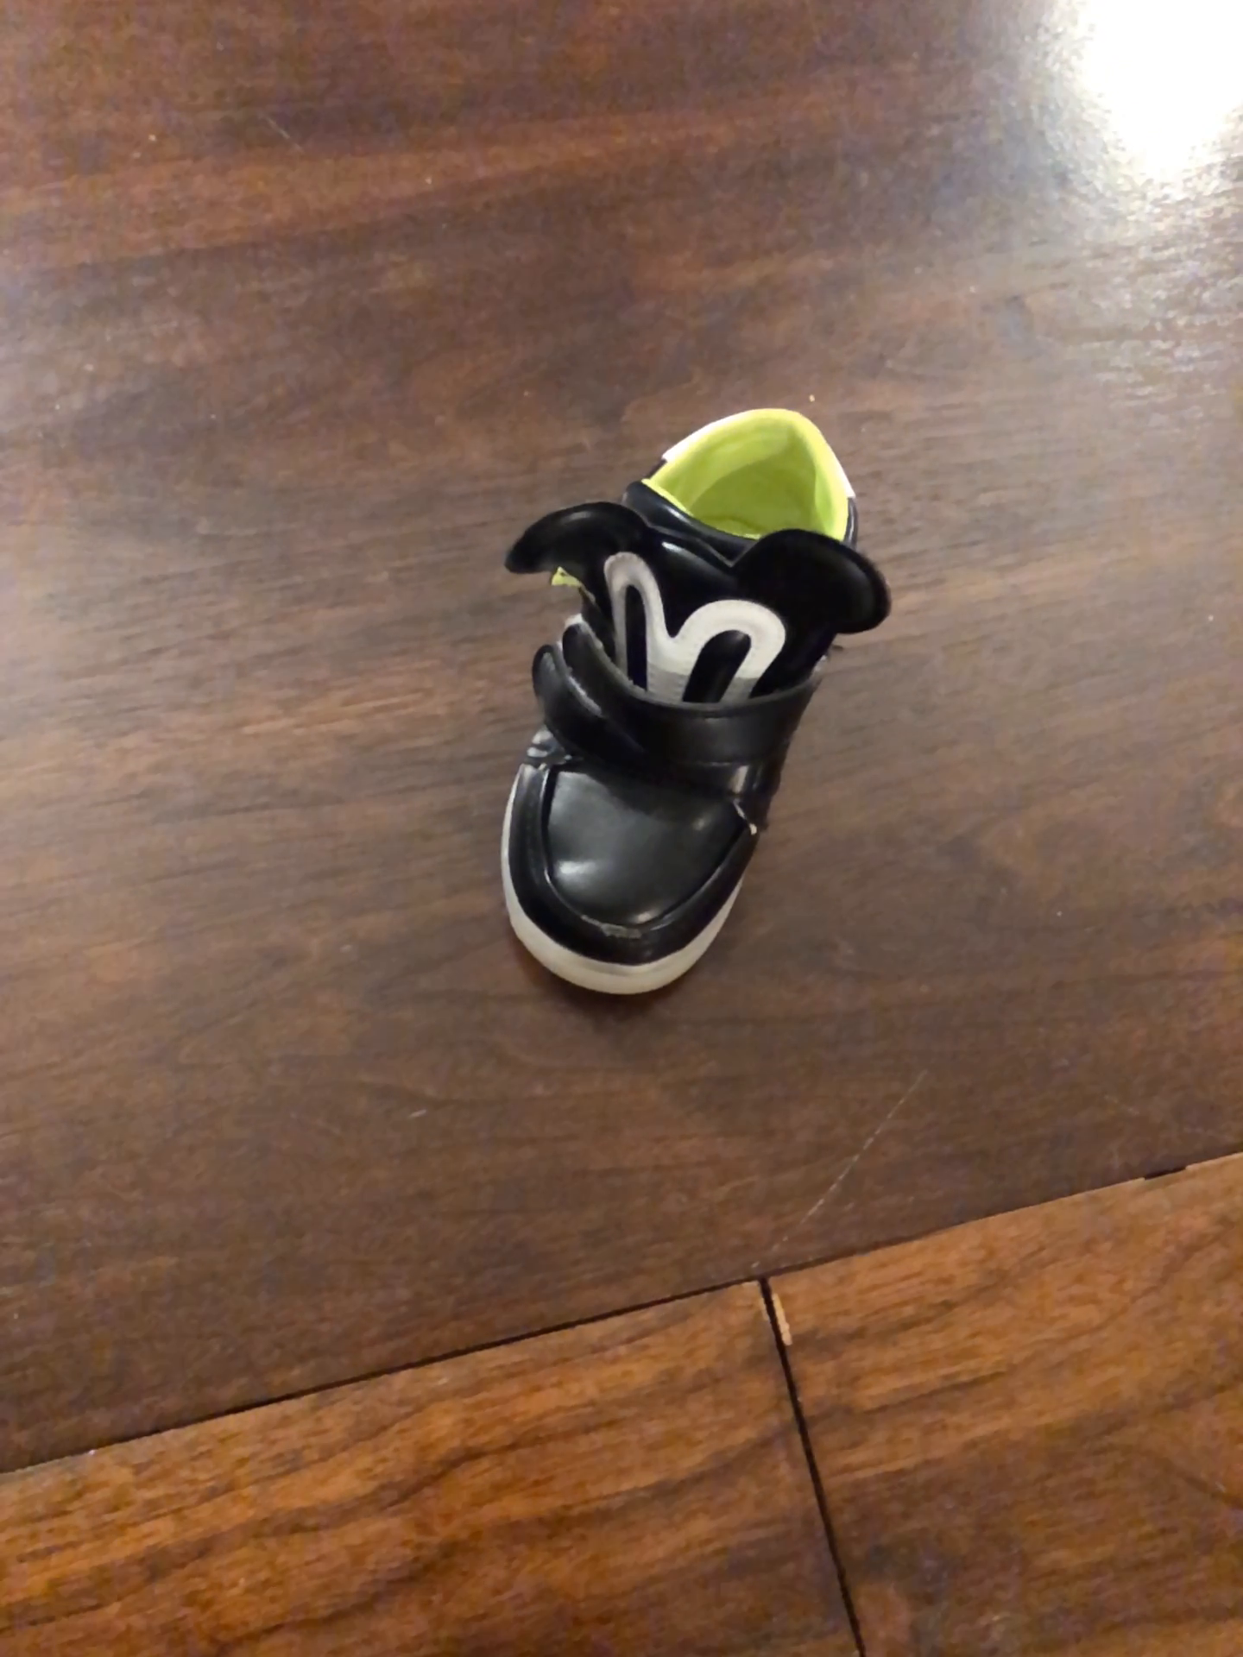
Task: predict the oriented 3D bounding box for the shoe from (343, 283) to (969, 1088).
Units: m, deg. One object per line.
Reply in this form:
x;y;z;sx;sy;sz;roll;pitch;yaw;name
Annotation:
0.009;-0.031;0.344;0.090;0.100;0.150;20;69;4;shoe
